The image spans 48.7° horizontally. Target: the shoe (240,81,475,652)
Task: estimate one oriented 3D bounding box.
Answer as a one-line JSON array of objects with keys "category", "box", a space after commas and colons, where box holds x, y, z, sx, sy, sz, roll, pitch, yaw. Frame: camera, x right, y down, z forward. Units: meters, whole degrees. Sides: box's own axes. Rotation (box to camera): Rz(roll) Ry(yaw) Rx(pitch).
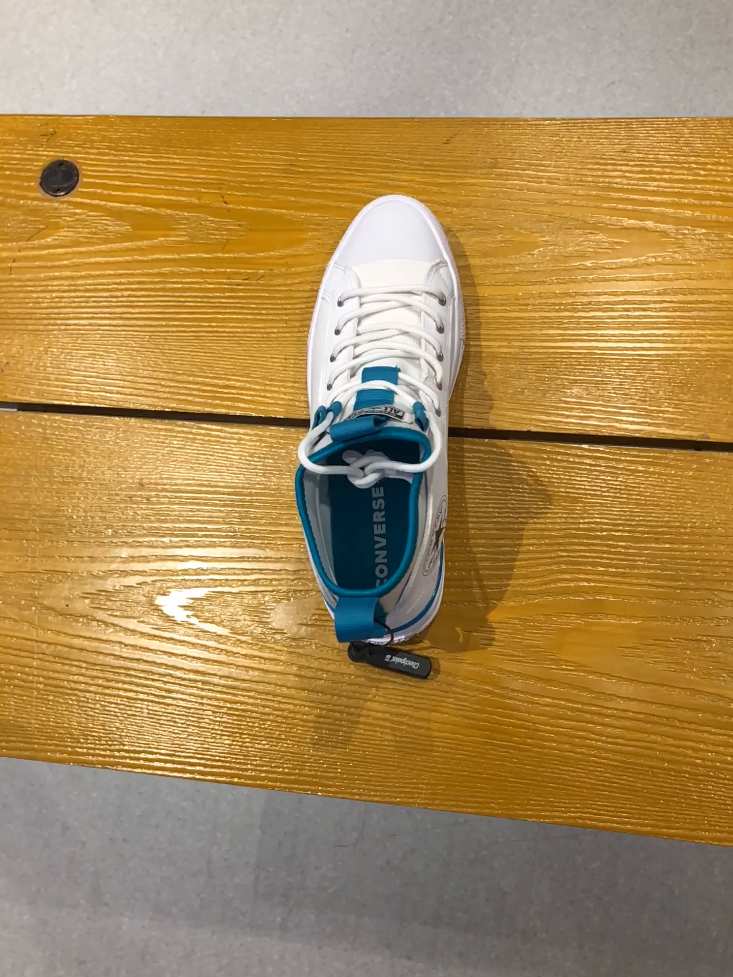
[{"category": "shoe", "box": [0.006, -0.053, 0.479, 0.108, 0.158, 0.293, -2, 78, 8]}]
